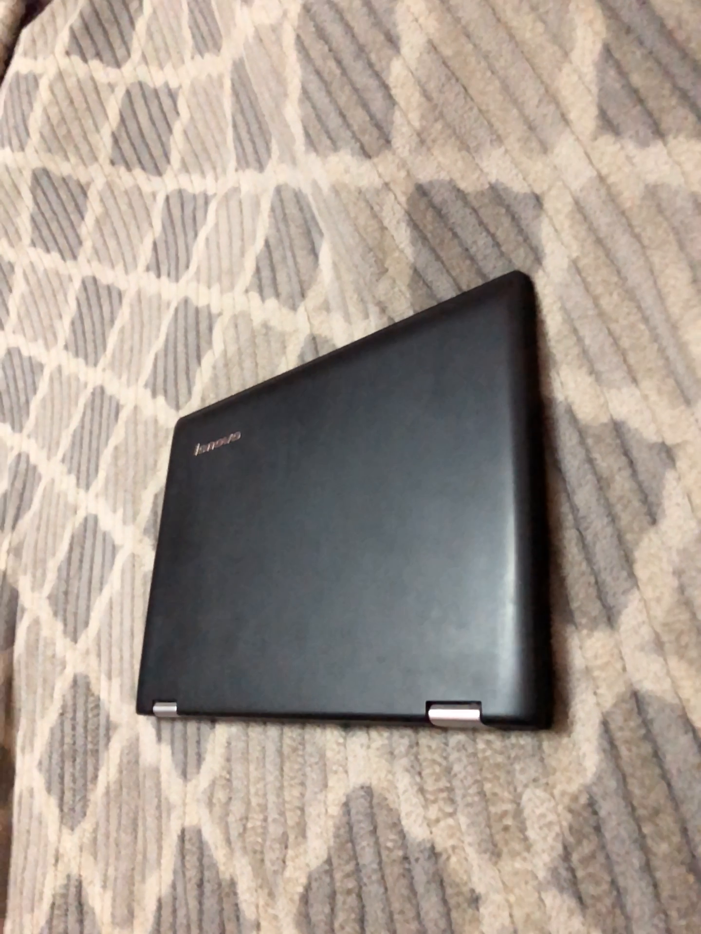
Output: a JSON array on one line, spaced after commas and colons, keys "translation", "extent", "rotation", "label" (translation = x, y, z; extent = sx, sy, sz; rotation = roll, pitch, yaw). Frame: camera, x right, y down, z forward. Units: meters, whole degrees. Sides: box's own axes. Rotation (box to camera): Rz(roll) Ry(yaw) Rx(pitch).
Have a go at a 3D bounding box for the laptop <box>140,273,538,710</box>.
[{"translation": [-0.032, 0.038, 0.505], "extent": [0.340, 0.005, 0.231], "rotation": [-16, 64, 42], "label": "laptop"}]
